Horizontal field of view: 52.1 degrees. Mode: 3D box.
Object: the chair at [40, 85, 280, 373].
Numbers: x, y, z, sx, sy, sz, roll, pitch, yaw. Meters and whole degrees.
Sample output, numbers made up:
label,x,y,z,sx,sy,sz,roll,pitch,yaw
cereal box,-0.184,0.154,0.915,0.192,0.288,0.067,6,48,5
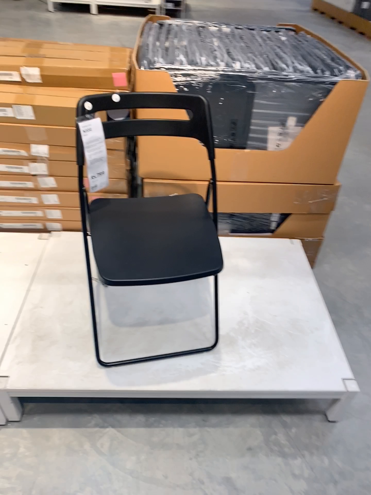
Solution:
label,x,y,z,sx,sy,sz,roll,pitch,yaw
chair,-0.099,-0.055,1.097,0.460,0.657,0.452,-5,41,-11
